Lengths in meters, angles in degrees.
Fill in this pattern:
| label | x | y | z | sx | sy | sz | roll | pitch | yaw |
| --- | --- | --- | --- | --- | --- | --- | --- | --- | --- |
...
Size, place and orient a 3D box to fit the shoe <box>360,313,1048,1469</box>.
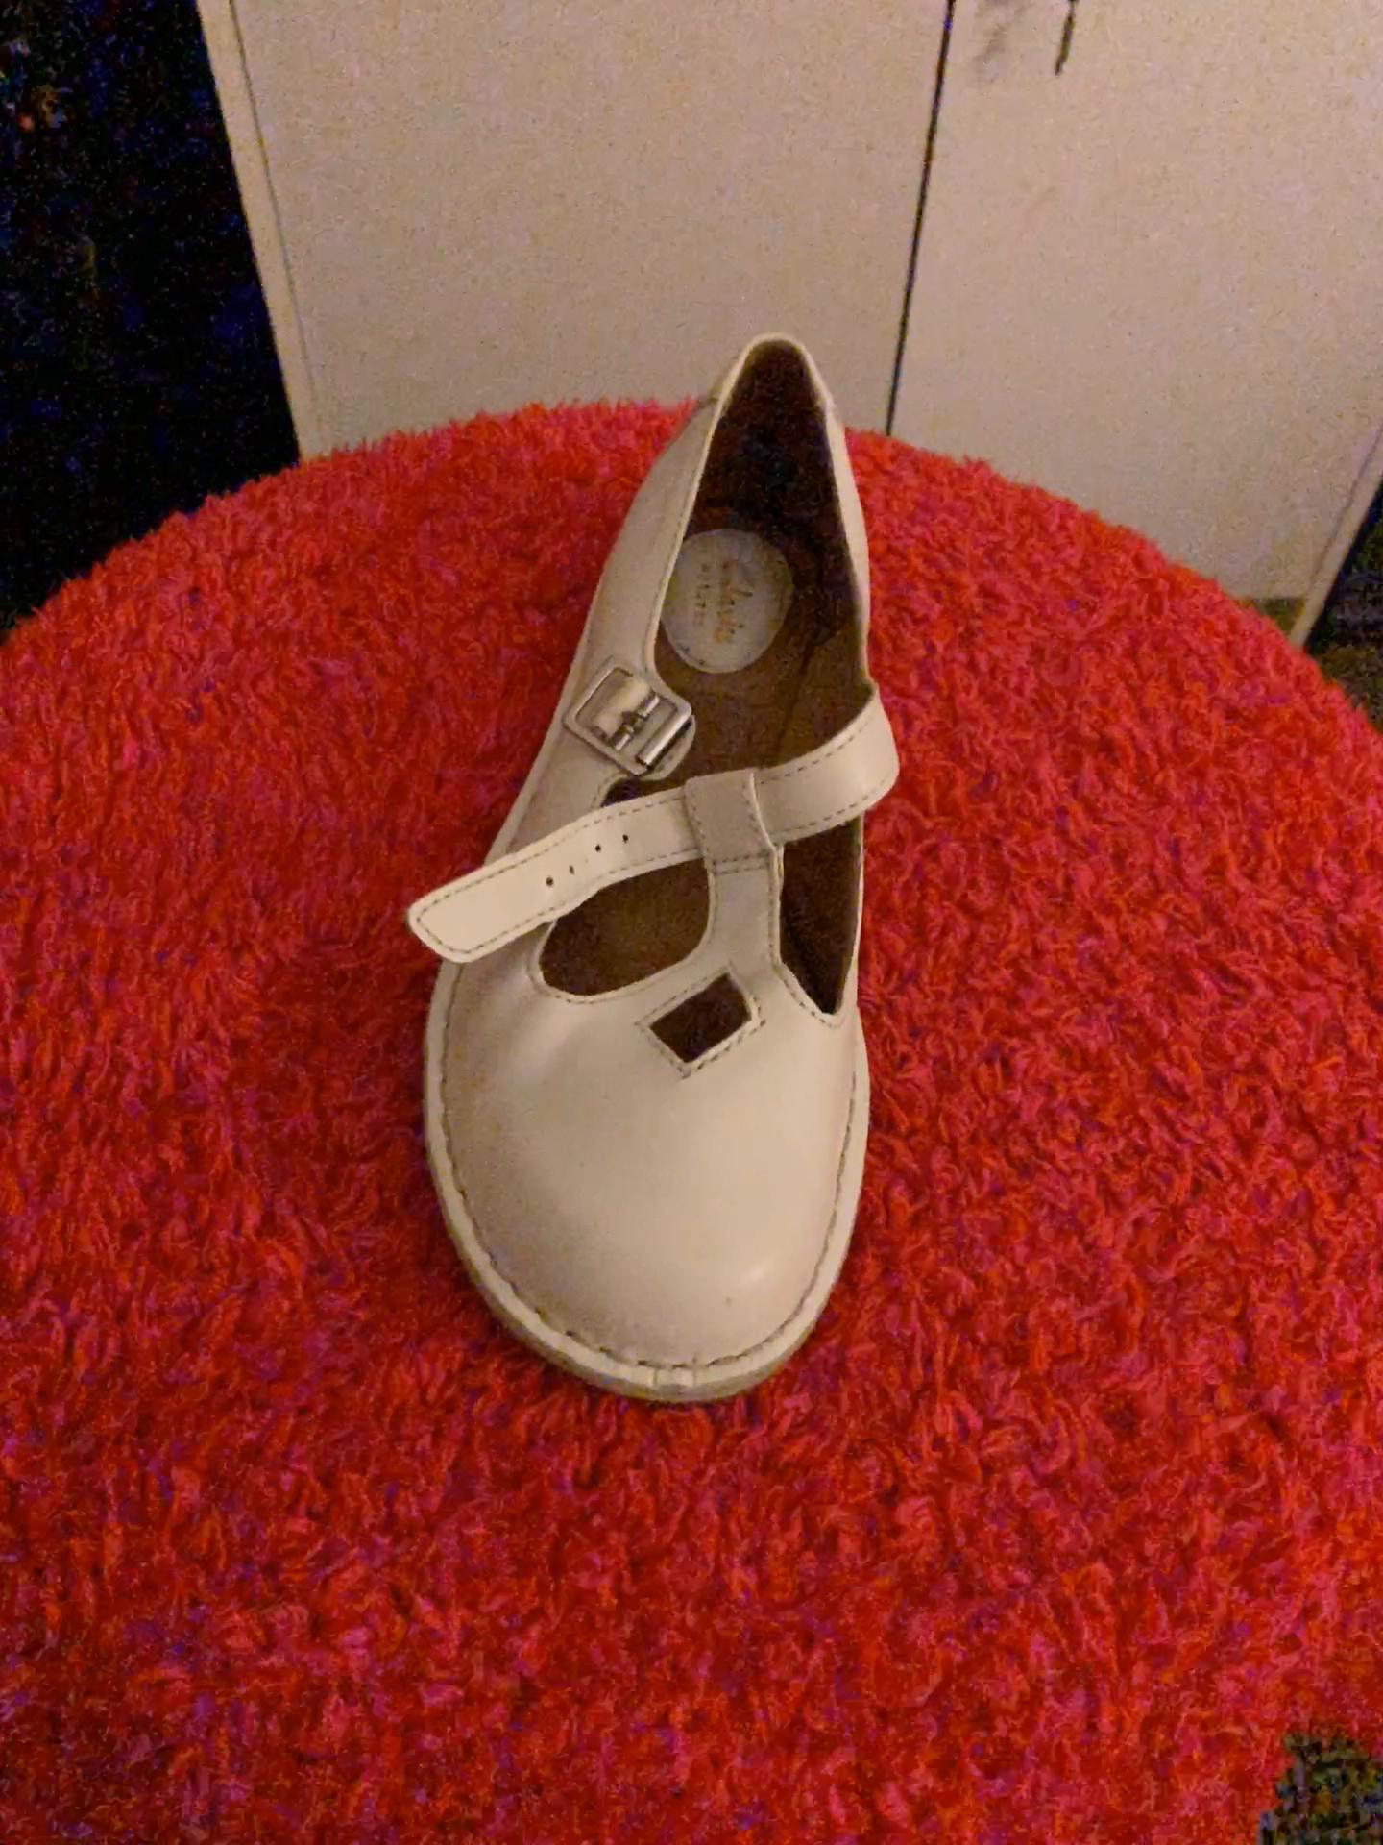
| label | x | y | z | sx | sy | sz | roll | pitch | yaw |
| --- | --- | --- | --- | --- | --- | --- | --- | --- | --- |
| shoe | 0.007 | -0.026 | 0.324 | 0.100 | 0.089 | 0.262 | 3 | 51 | 1 |
